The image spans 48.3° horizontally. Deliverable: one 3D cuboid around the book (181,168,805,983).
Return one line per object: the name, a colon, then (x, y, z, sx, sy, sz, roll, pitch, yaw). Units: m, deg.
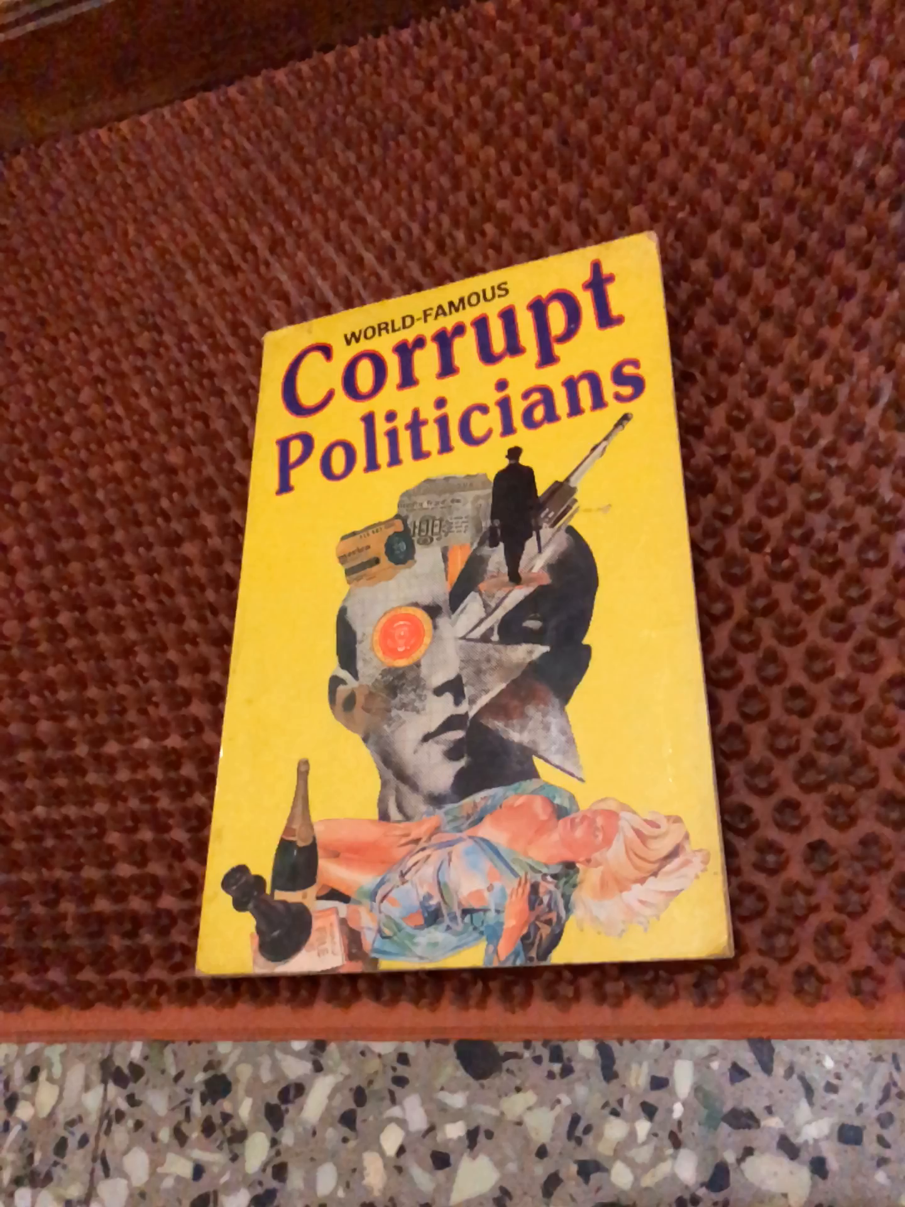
book: (0.005, -0.016, 0.292, 0.150, 0.020, 0.230, -9, 63, 17)
